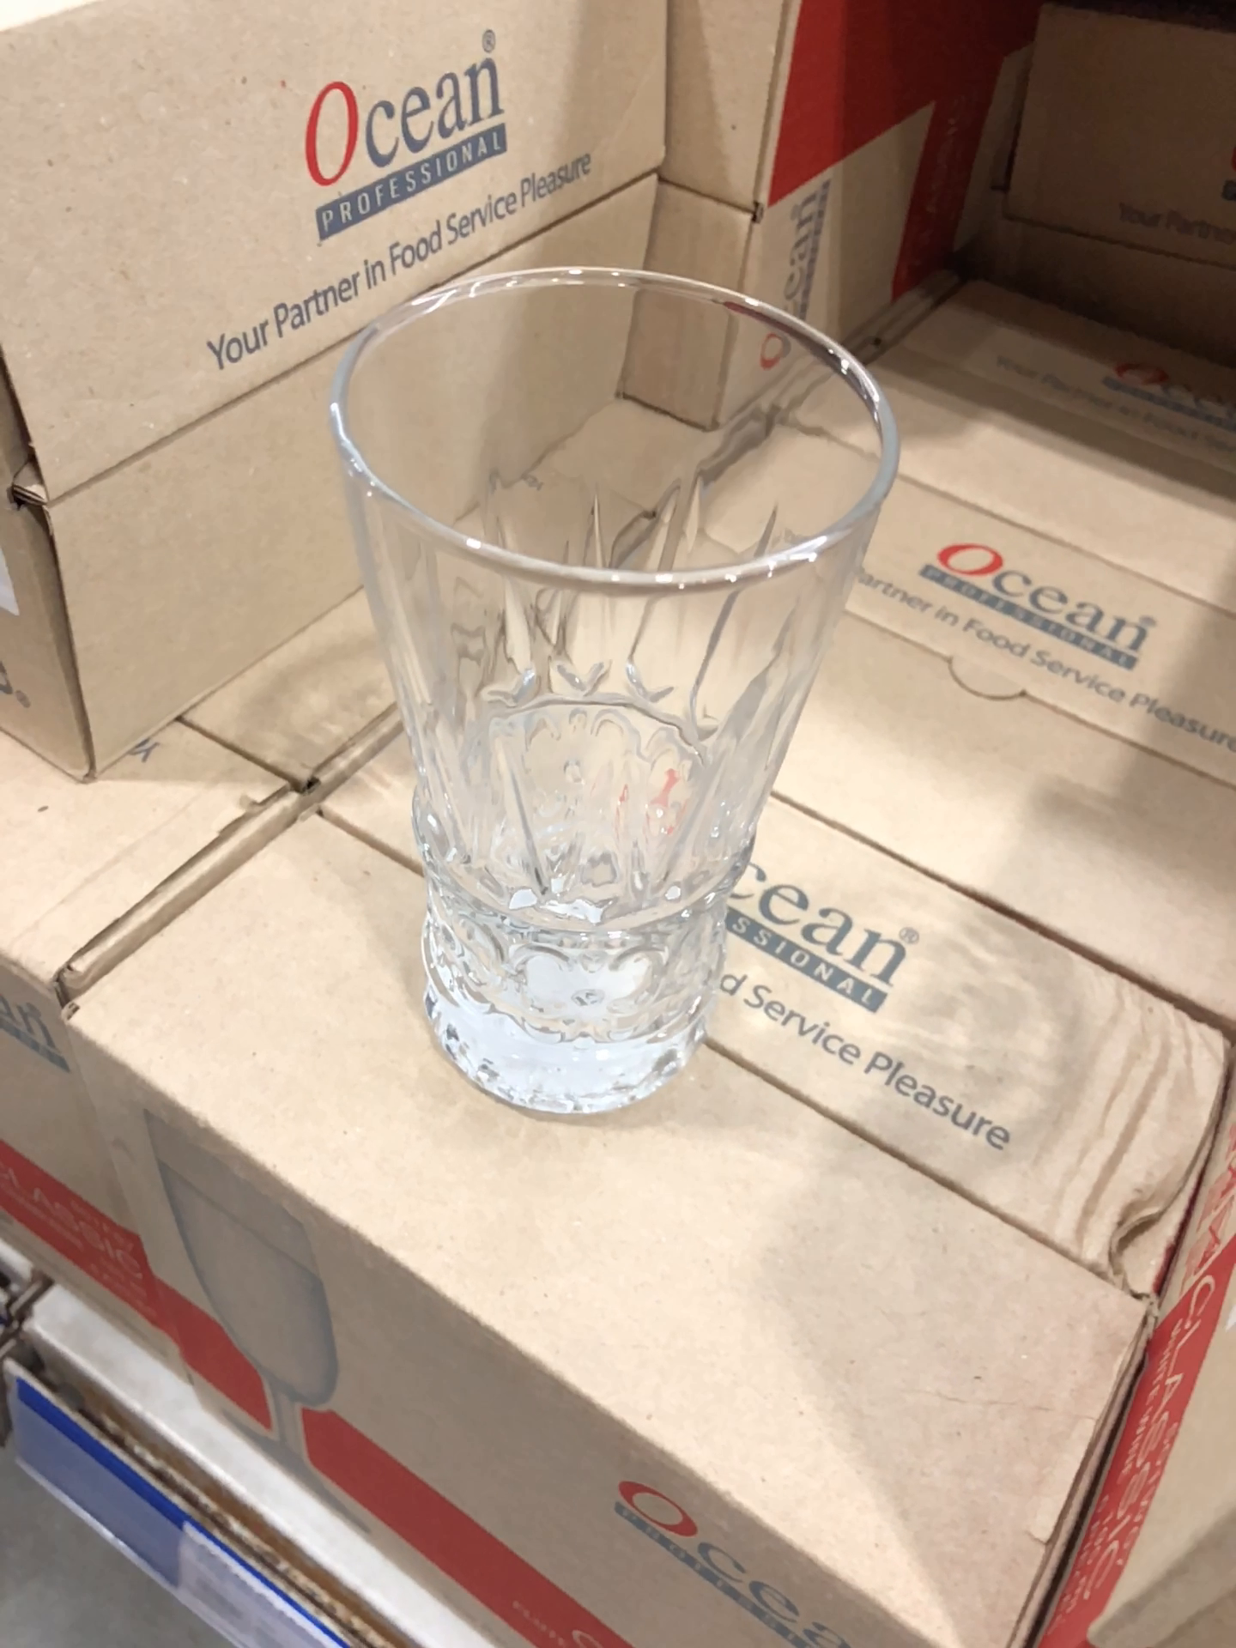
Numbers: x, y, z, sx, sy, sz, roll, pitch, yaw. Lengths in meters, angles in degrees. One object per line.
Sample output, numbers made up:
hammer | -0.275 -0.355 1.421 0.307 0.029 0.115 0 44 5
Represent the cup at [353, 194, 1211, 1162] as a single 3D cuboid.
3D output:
cup | 0.013 -0.020 0.241 0.100 0.129 0.100 3 46 -3
